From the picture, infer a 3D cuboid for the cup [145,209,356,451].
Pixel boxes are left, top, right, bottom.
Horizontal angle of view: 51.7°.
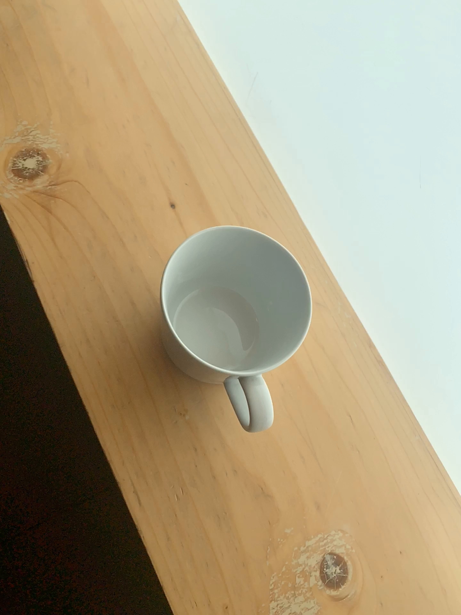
[{"bbox_3d":[0.005,0.017,0.327,0.090,0.080,0.130,-15,75,-17],"label":"cup"}]
